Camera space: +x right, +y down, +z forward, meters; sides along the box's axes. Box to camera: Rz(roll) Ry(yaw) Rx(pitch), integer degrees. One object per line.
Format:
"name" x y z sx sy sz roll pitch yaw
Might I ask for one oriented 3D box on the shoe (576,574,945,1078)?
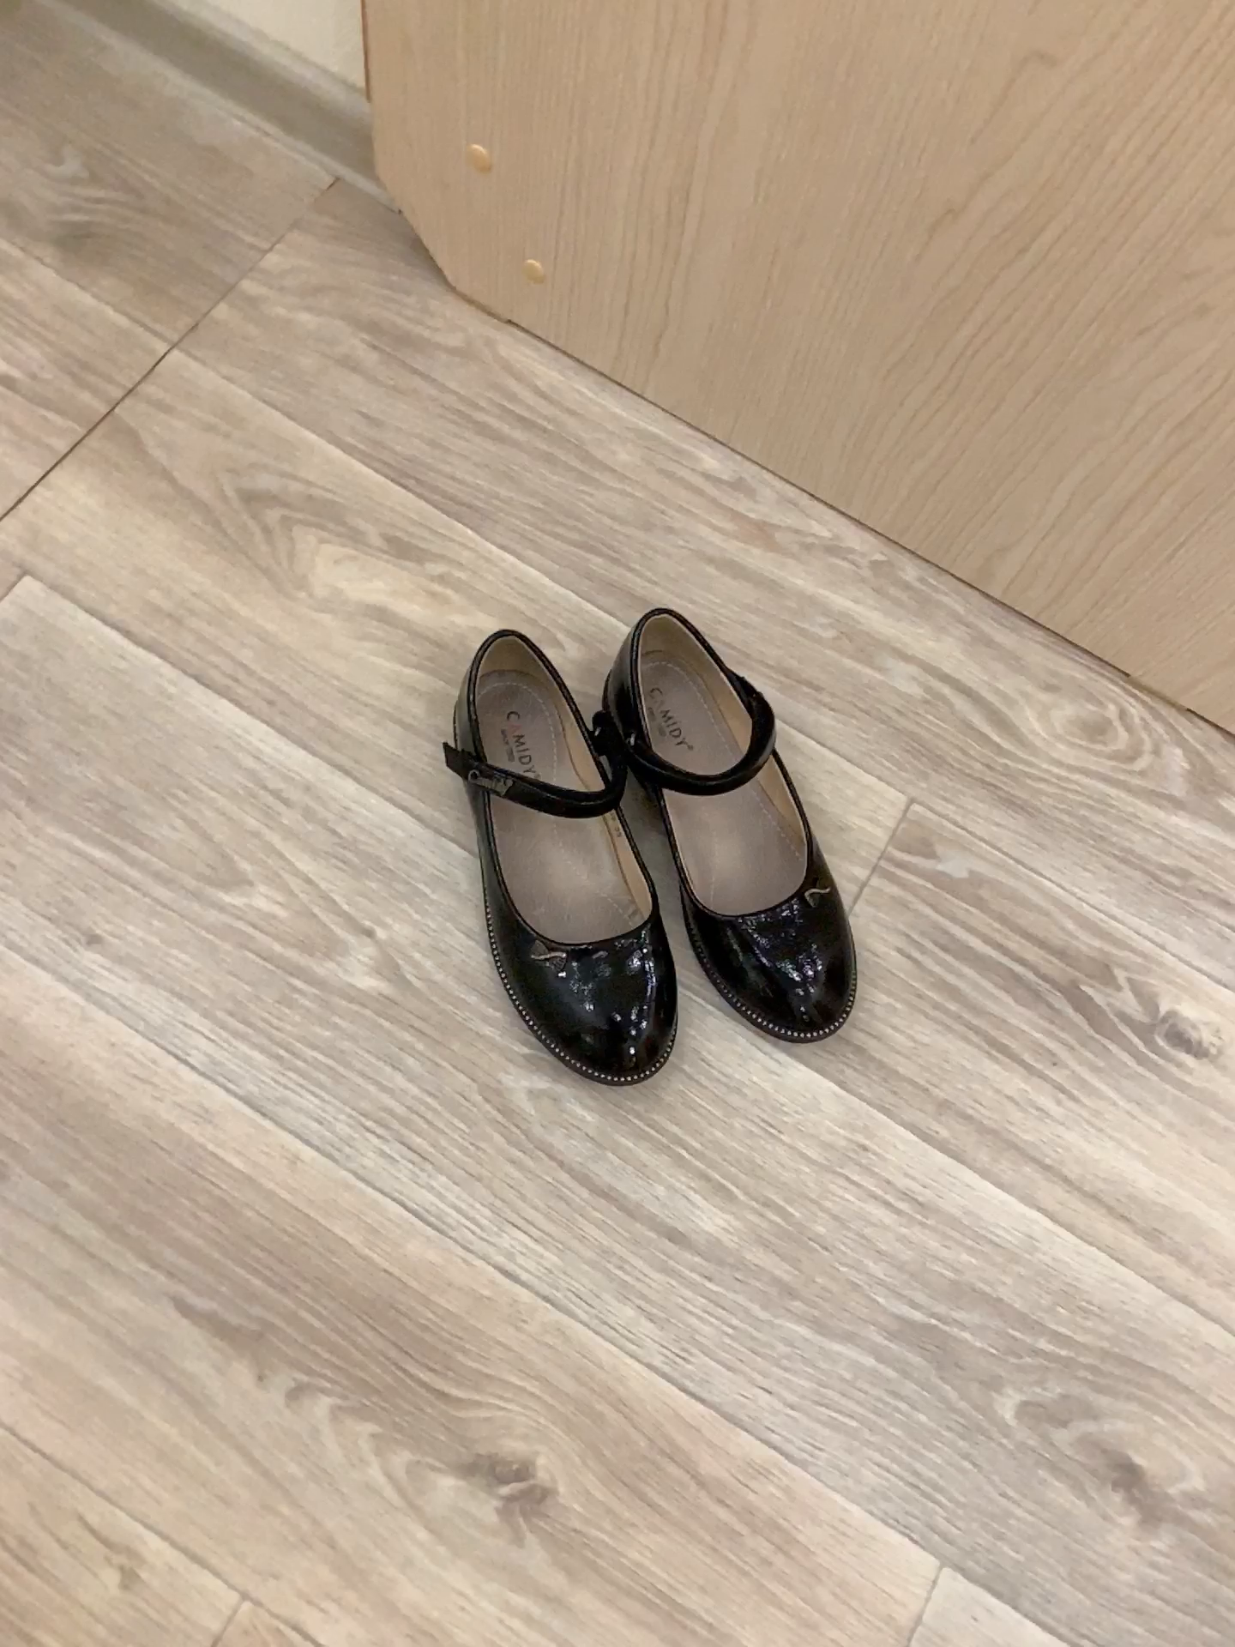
"shoe" 0.071 0.002 0.713 0.090 0.100 0.250 -20 74 -14

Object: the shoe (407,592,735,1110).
"shoe" -0.034 0.015 0.692 0.090 0.100 0.250 -17 73 -13
